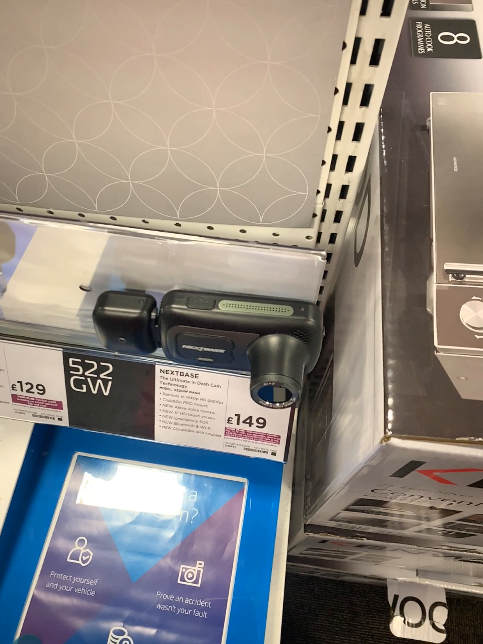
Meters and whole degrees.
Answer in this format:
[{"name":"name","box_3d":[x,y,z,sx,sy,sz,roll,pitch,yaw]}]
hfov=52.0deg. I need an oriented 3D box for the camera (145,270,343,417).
[{"name":"camera","box_3d":[0.004,0.012,0.287,0.100,0.050,0.060,4,56,3]}]
